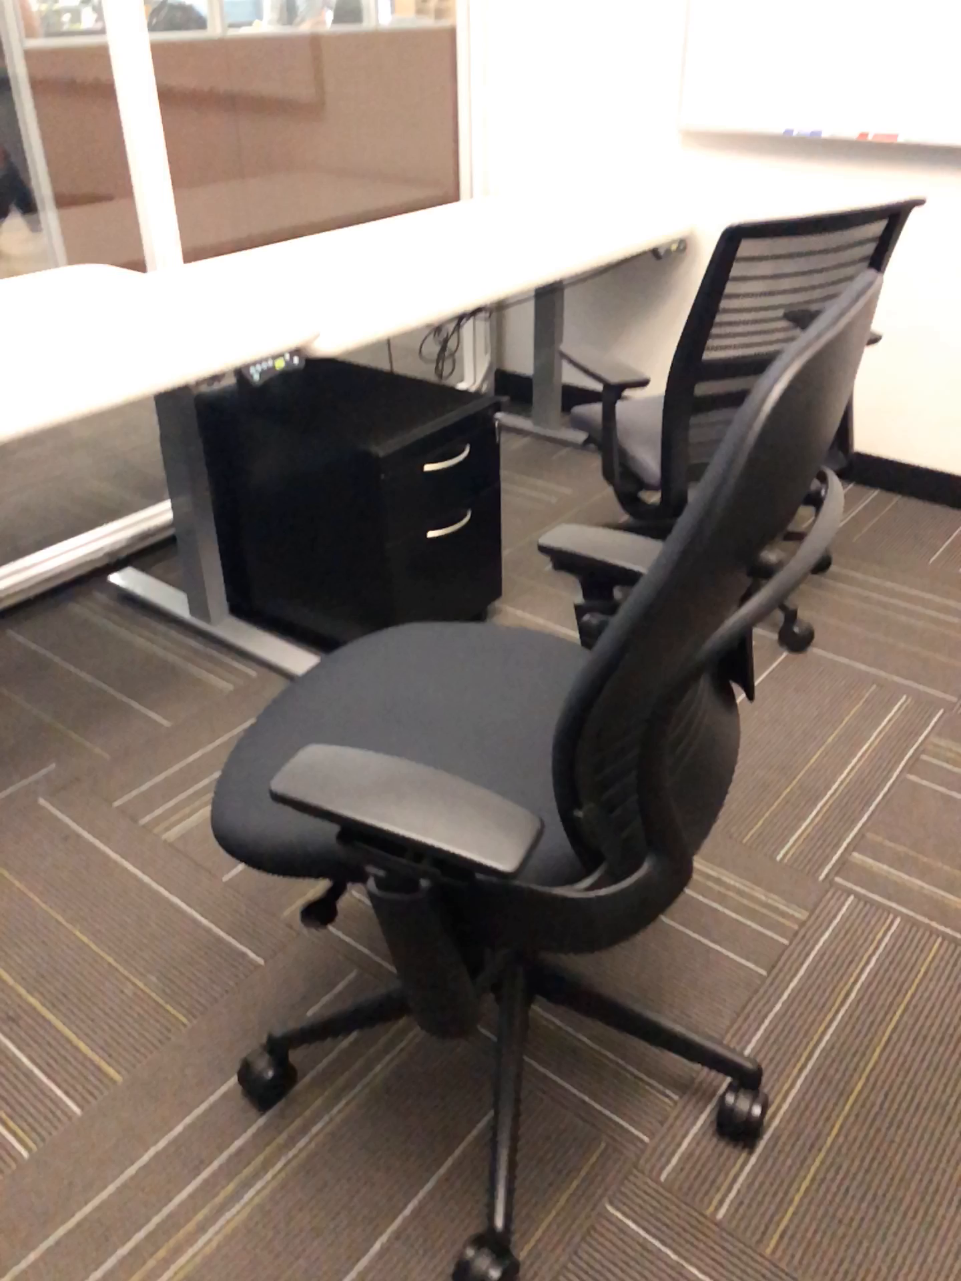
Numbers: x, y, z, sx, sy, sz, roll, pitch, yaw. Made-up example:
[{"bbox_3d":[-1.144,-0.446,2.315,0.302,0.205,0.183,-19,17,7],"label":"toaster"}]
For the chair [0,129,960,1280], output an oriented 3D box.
[{"bbox_3d":[0.001,0.050,1.180,0.831,1.035,0.733,13,34,22],"label":"chair"}]
